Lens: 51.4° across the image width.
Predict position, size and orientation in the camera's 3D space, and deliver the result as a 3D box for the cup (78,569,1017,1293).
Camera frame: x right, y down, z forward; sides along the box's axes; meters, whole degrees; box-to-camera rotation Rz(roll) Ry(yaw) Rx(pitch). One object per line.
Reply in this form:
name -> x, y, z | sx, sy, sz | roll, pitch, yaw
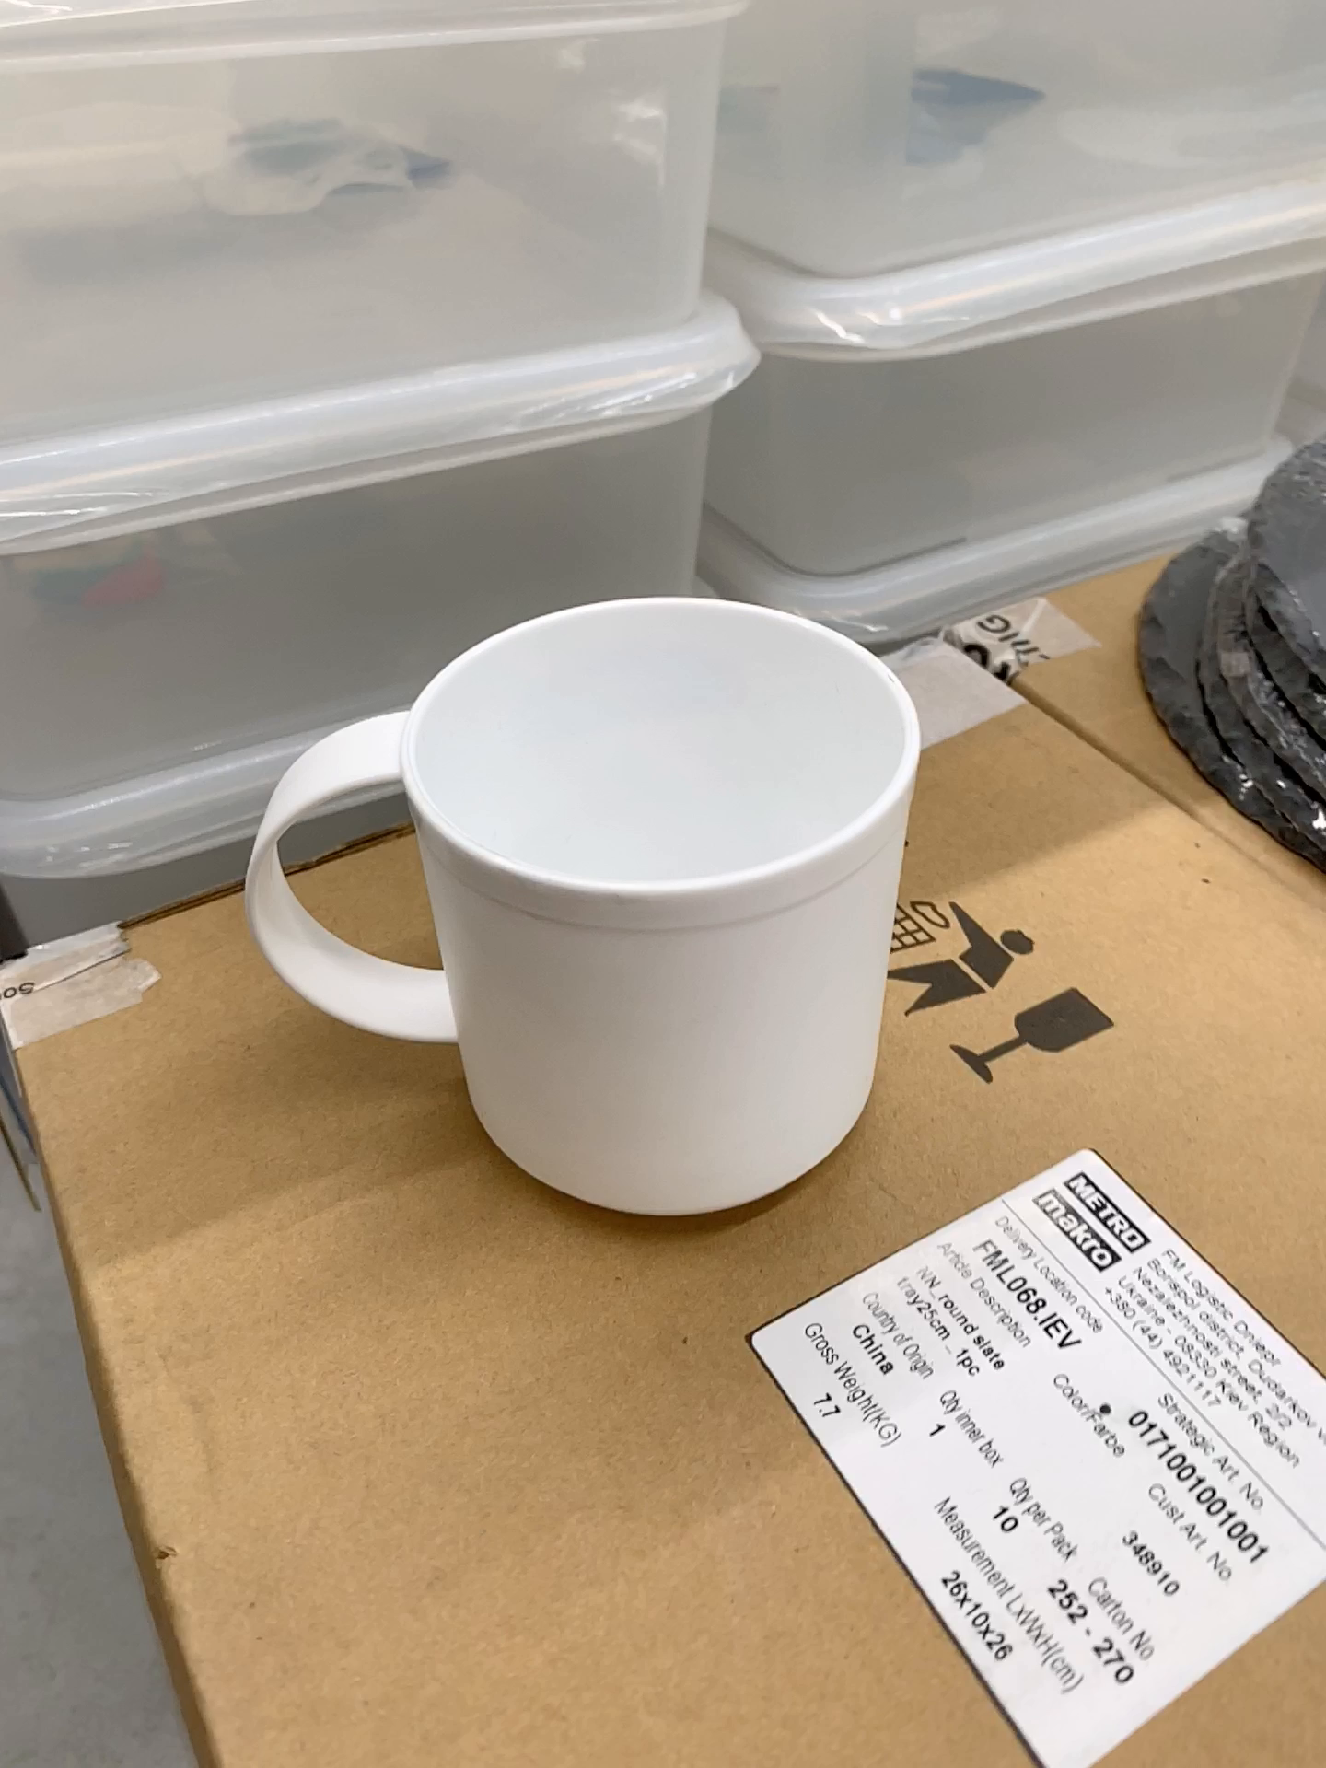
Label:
cup -> -0.015, 0.005, 0.220 | 0.112, 0.075, 0.080 | -3, 40, -2
